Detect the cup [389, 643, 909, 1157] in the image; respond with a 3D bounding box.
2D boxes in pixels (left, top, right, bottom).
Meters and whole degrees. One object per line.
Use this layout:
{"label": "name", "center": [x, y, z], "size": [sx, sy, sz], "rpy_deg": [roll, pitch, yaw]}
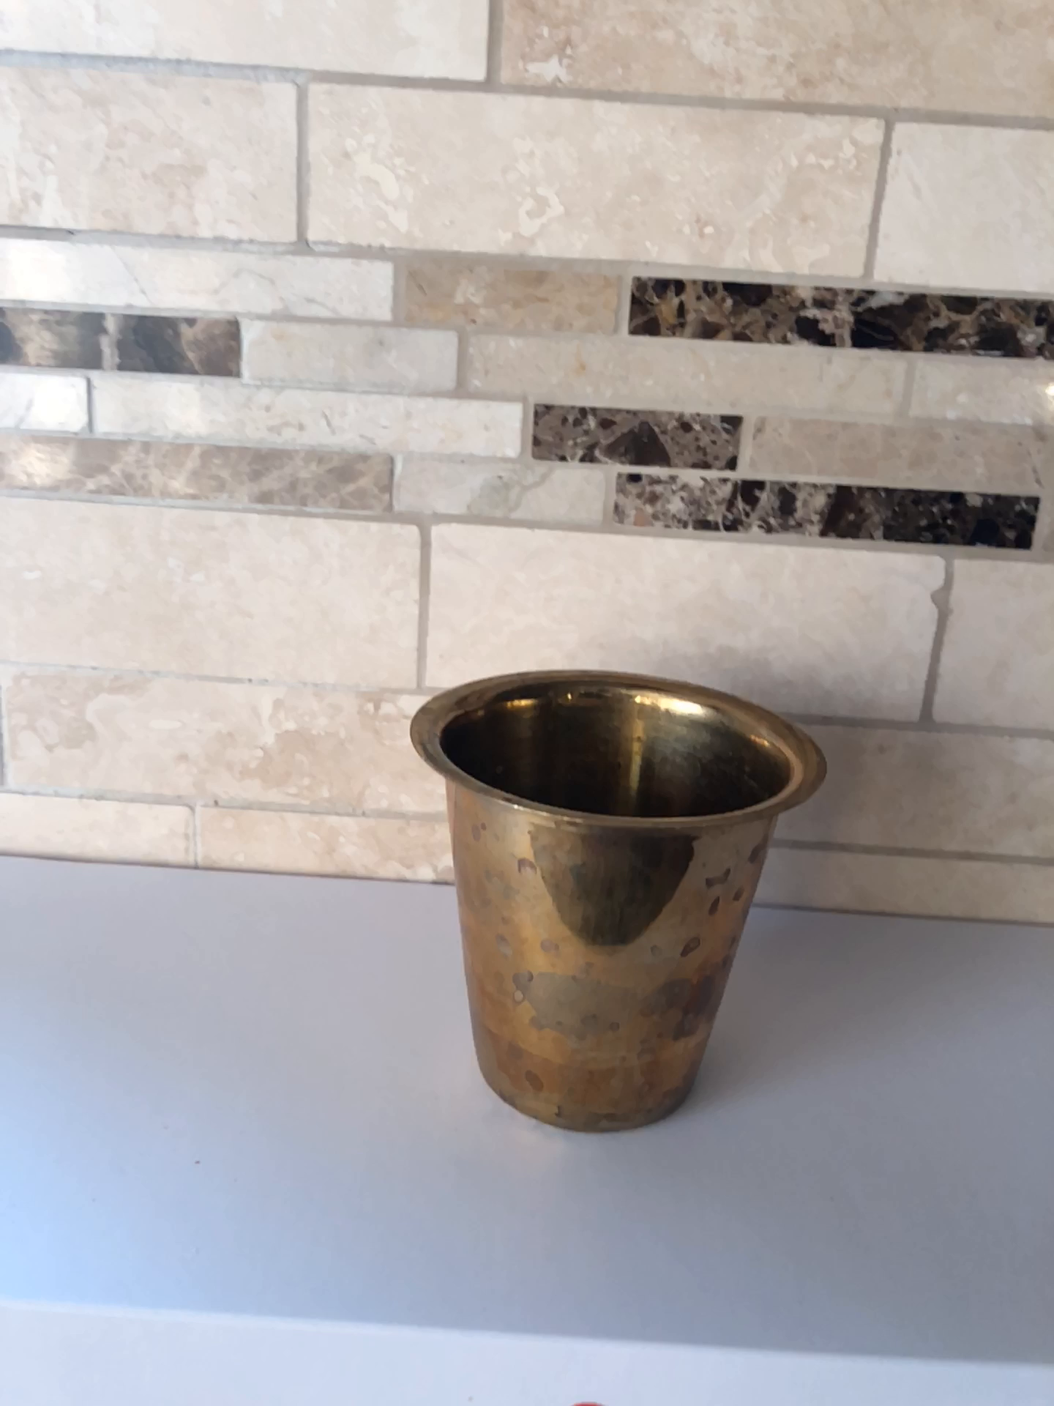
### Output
{"label": "cup", "center": [0.018, 0.035, 0.238], "size": [0.083, 0.071, 0.075], "rpy_deg": [3, 19, -3]}
